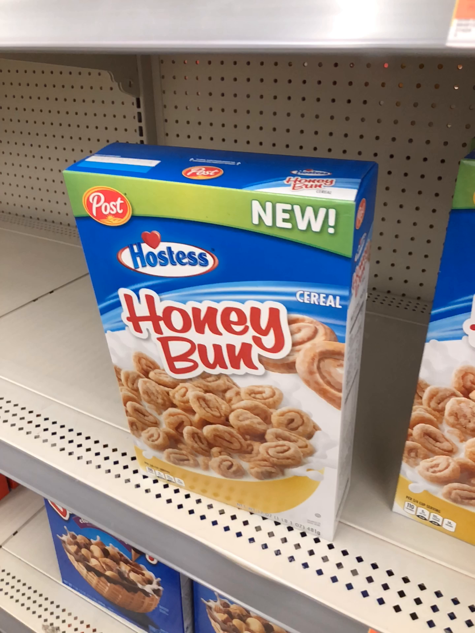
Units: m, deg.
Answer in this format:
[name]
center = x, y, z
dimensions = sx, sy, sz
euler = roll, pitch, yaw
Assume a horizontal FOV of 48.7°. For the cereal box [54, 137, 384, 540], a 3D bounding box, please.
[cereal box]
center = -0.006, 0.025, 0.417
dimensions = 0.200, 0.299, 0.070
euler = 11, 37, 23
